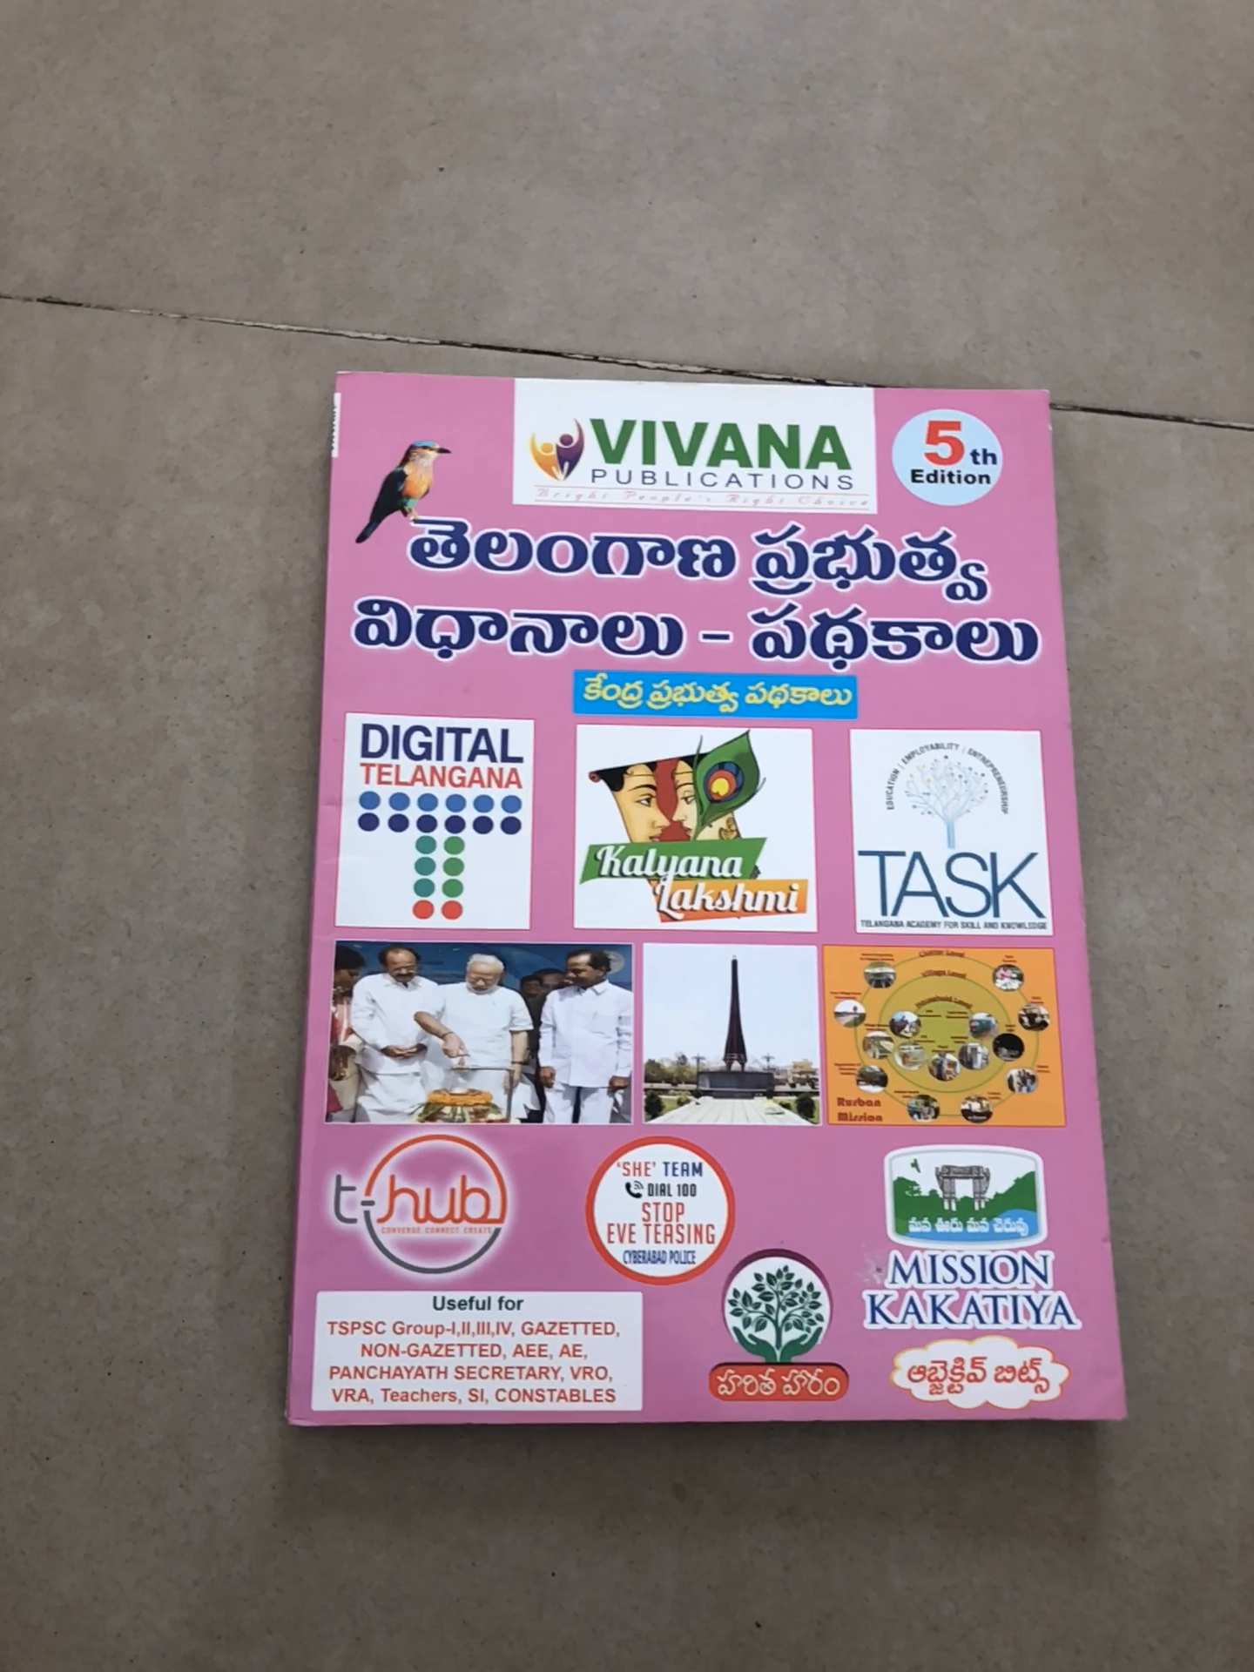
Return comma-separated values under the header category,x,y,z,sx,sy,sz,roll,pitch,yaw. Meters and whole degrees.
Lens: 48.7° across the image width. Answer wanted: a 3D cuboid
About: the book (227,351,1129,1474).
category,x,y,z,sx,sy,sz,roll,pitch,yaw
book,0.014,0.013,0.355,0.200,0.040,0.270,1,78,-3
